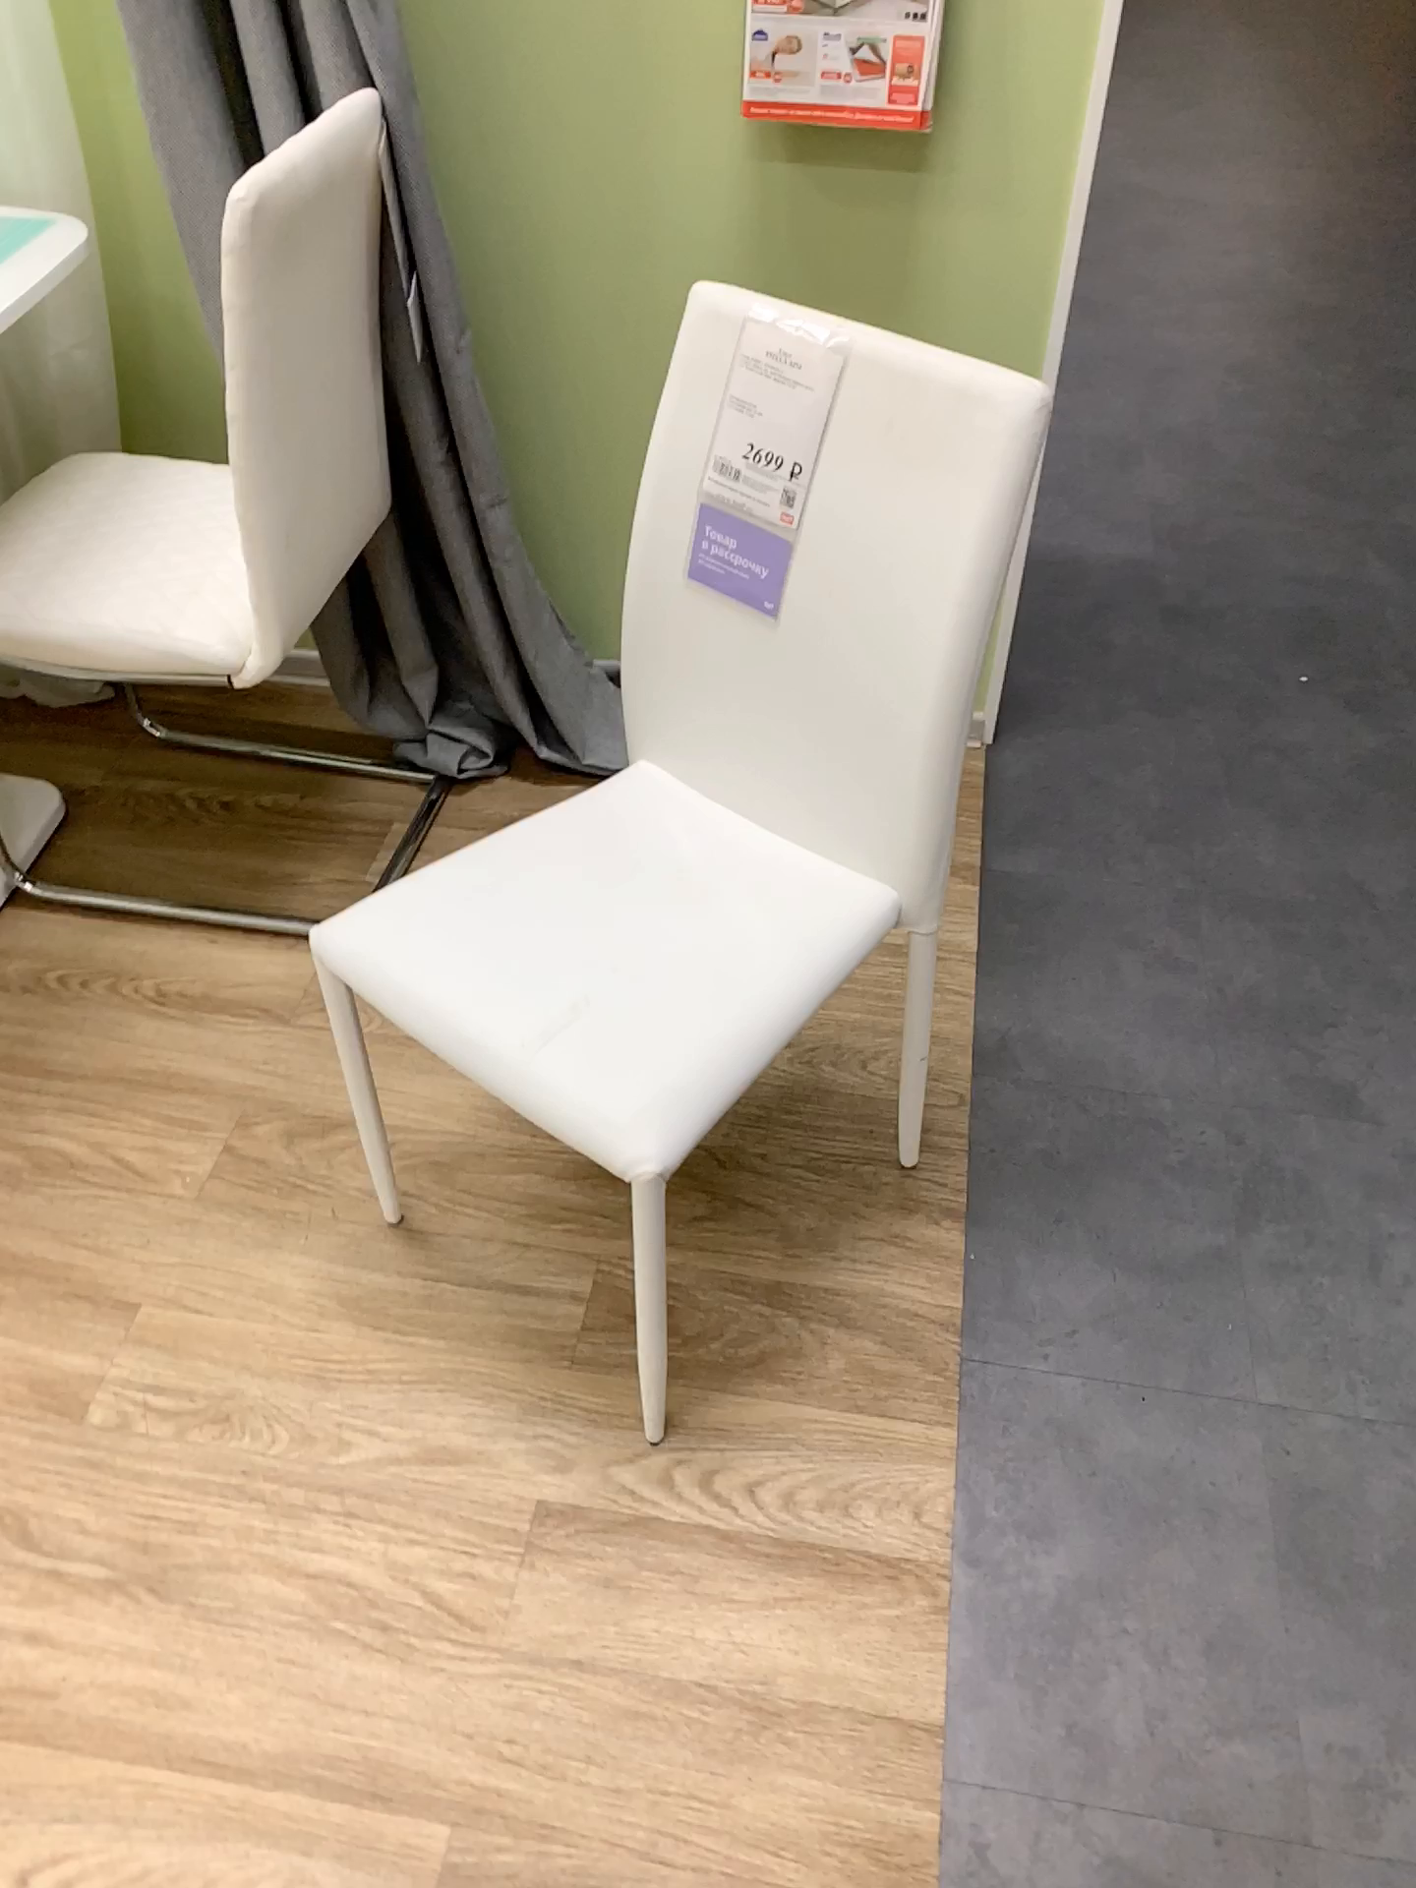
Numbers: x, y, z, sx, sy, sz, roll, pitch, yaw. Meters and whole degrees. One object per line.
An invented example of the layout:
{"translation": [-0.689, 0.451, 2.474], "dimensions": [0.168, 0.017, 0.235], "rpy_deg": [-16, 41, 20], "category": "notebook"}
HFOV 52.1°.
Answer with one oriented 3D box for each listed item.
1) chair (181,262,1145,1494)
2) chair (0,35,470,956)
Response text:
{"translation": [-0.021, -0.038, 1.374], "dimensions": [0.451, 0.925, 0.552], "rpy_deg": [31, 51, 28], "category": "chair"}
{"translation": [-0.681, -0.517, 1.800], "dimensions": [0.560, 0.945, 0.452], "rpy_deg": [7, 44, 7], "category": "chair"}
